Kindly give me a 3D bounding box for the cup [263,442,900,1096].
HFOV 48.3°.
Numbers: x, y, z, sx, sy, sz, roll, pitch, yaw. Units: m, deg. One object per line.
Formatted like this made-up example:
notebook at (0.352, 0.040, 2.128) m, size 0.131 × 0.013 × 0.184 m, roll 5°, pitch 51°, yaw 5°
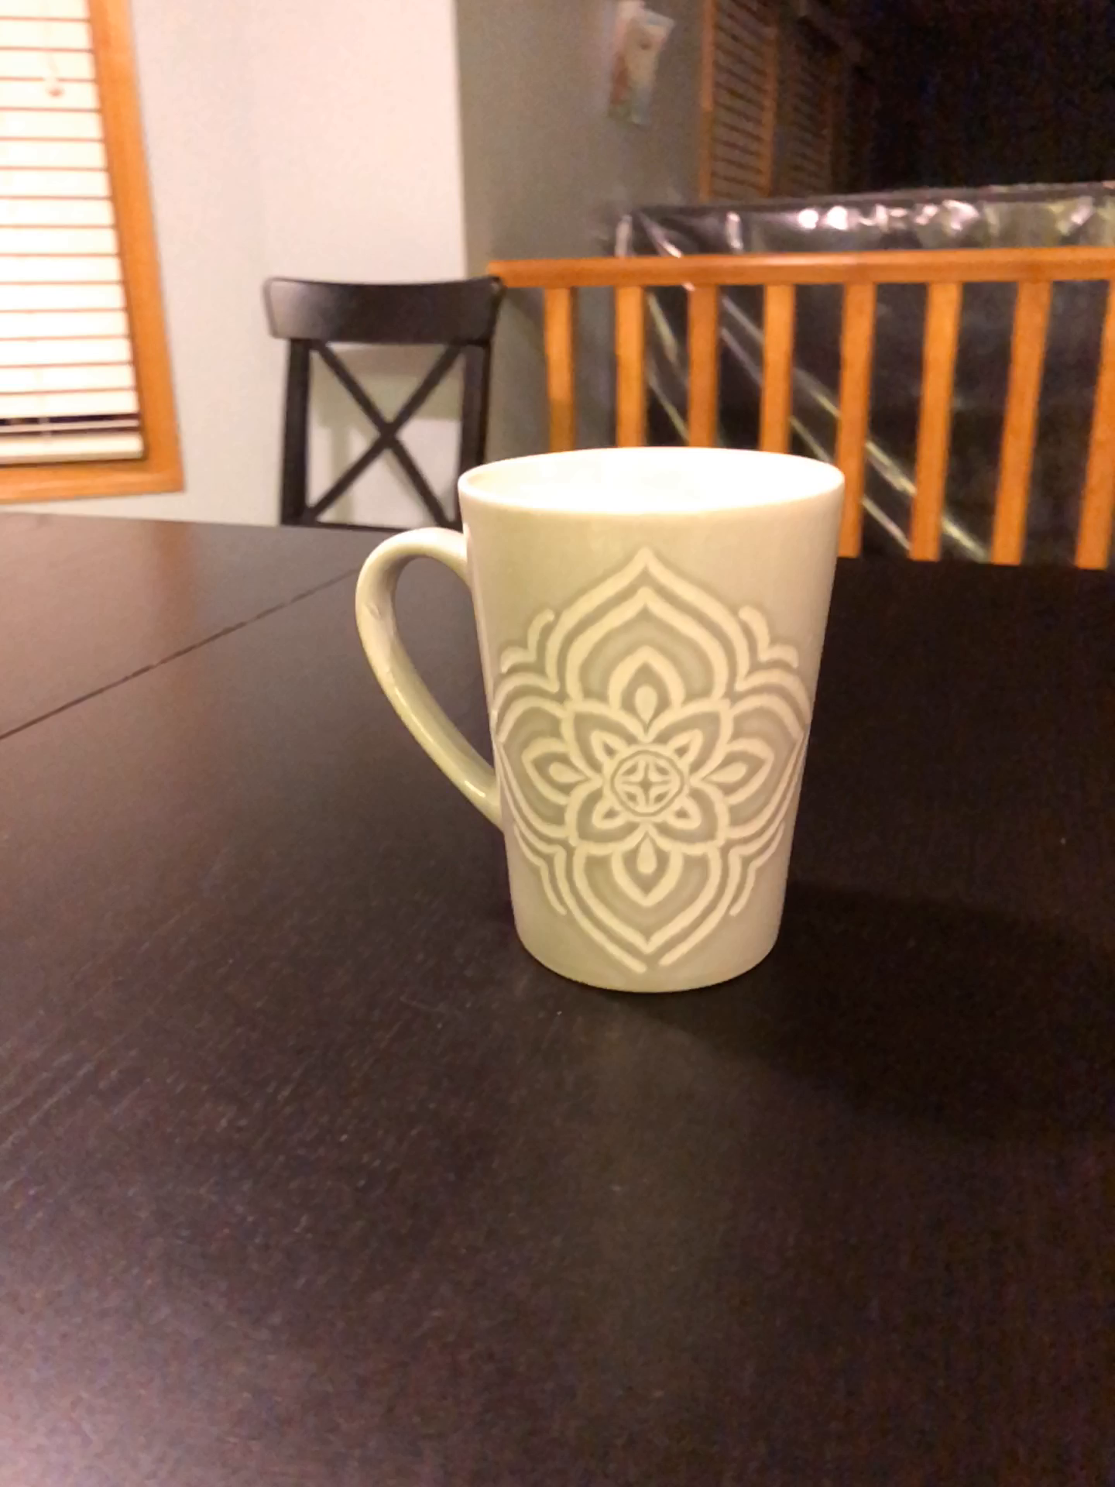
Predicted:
cup at (0.013, -0.005, 0.322) m, size 0.130 × 0.129 × 0.100 m, roll 6°, pitch 21°, yaw 17°
